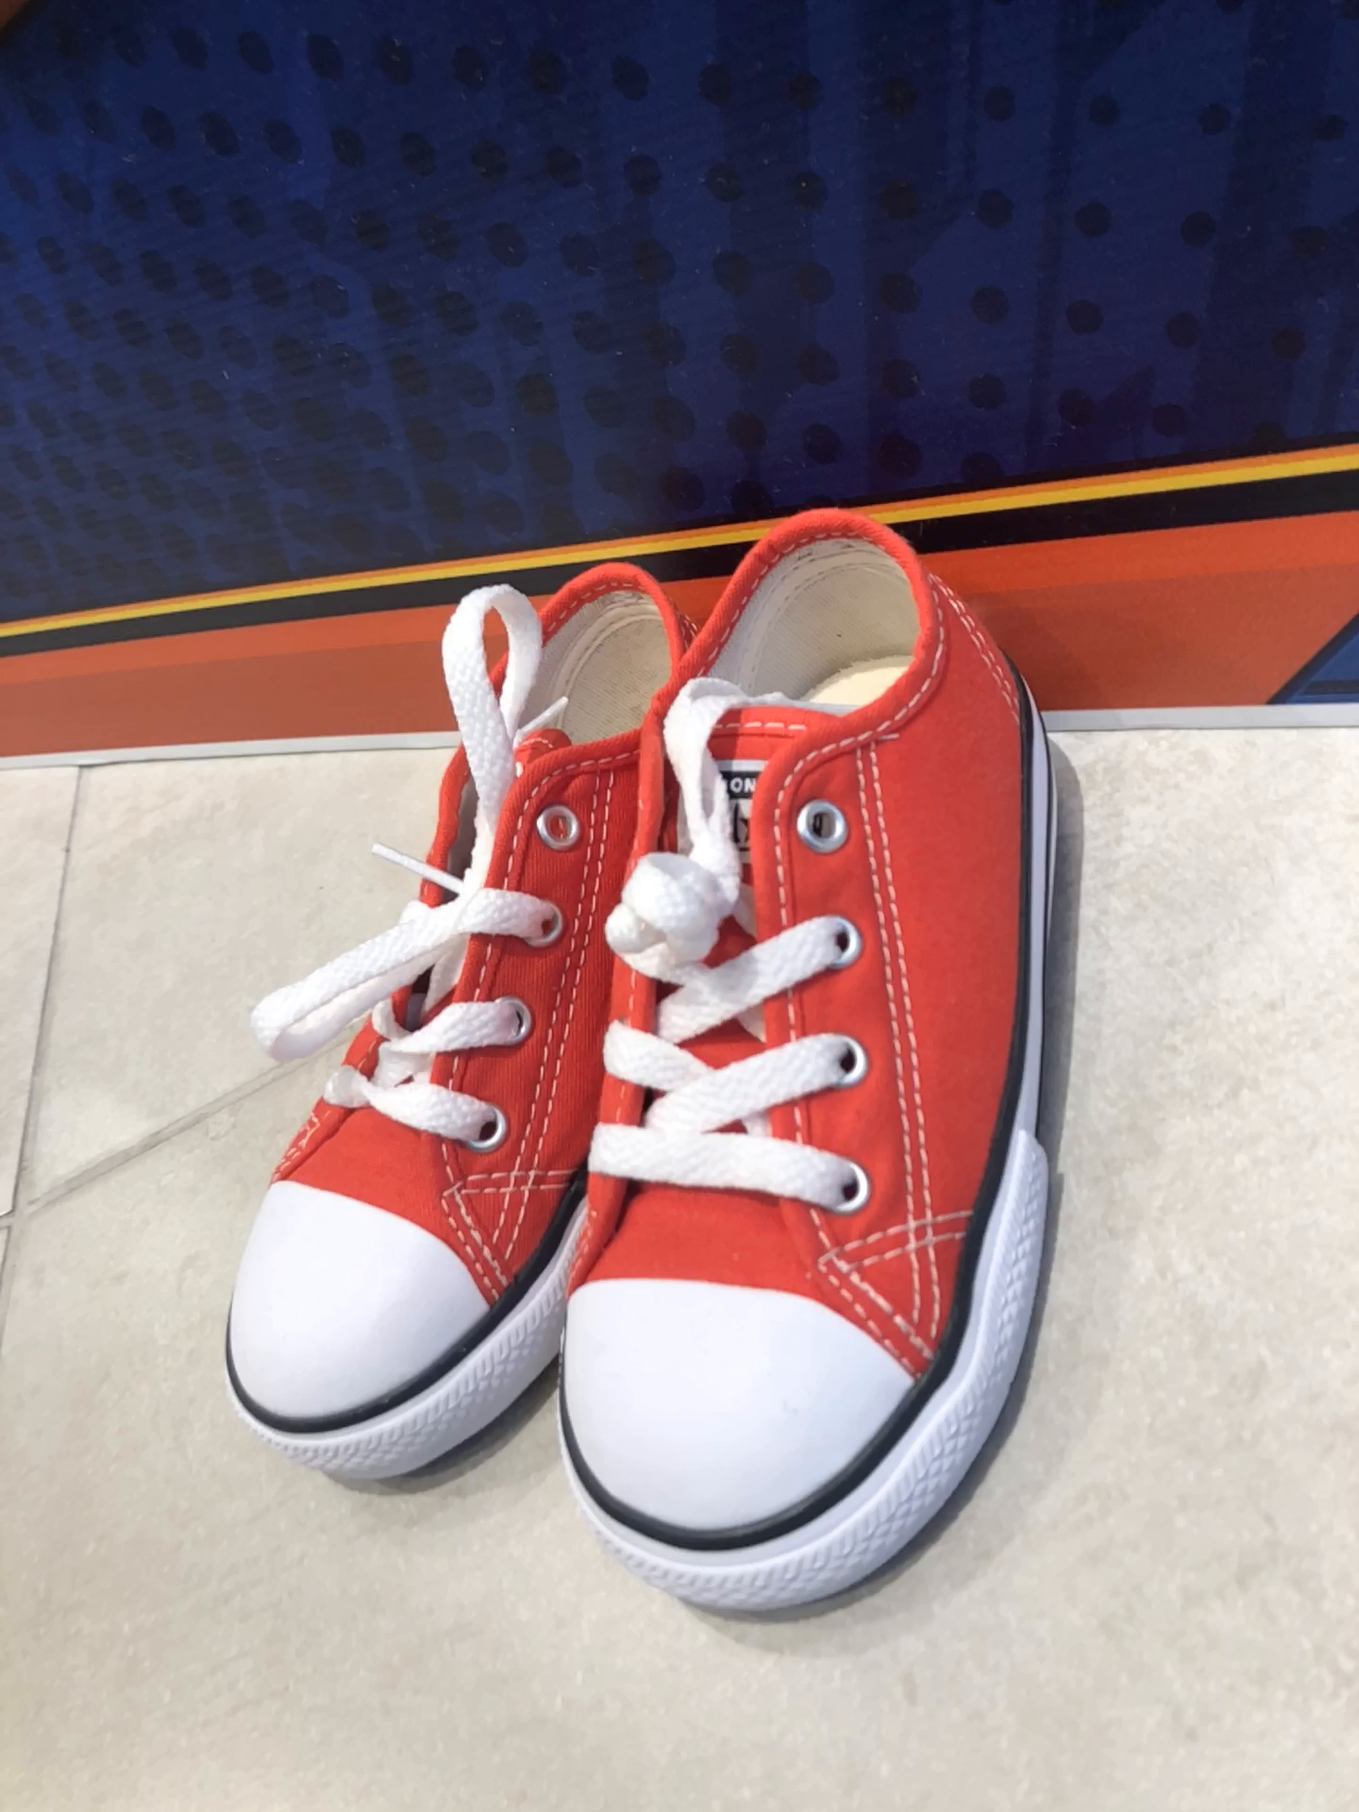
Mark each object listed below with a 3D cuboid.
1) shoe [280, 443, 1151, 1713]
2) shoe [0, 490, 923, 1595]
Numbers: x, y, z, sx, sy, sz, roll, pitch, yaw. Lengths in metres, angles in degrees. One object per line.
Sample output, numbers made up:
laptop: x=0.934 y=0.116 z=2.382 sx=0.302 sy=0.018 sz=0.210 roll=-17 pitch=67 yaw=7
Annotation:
shoe: x=0.022 y=0.017 z=0.259 sx=0.080 sy=0.070 sz=0.191 roll=-4 pitch=50 yaw=32
shoe: x=-0.032 y=0.014 z=0.293 sx=0.080 sy=0.070 sz=0.190 roll=4 pitch=55 yaw=37
